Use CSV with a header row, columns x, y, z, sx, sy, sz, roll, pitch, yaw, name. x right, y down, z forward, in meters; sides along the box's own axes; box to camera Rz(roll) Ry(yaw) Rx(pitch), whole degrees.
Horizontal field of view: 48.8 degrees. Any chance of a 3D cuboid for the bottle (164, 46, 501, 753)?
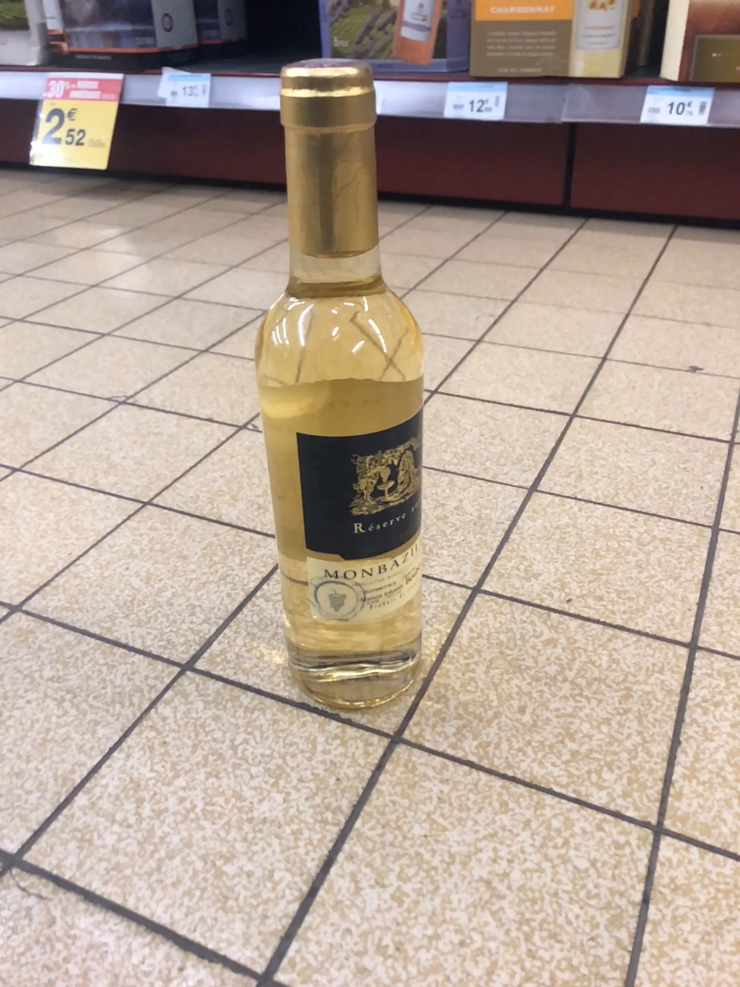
x,y,z,sx,sy,sz,roll,pitch,yaw,name
-0.009,-0.026,0.300,0.070,0.239,0.070,-1,32,1,bottle
